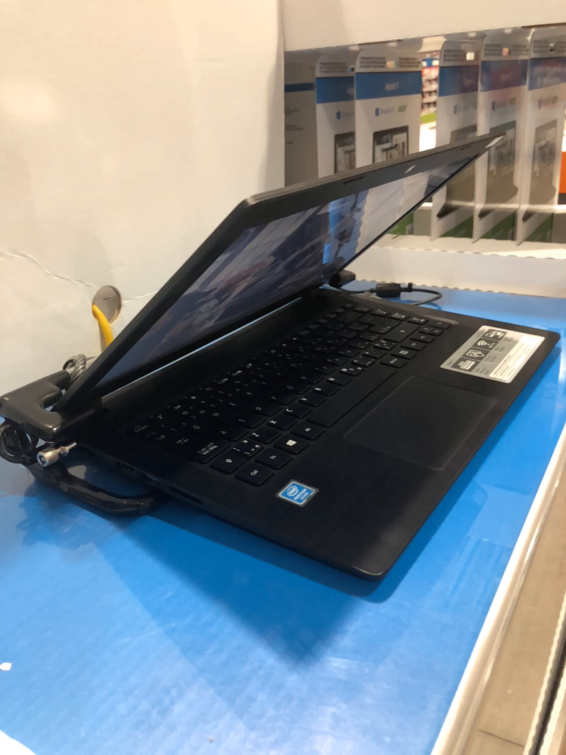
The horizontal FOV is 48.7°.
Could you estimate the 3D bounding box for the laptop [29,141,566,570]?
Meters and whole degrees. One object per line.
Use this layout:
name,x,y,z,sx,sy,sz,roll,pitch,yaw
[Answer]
laptop,0.049,-0.065,0.435,0.206,0.145,0.334,15,31,32
